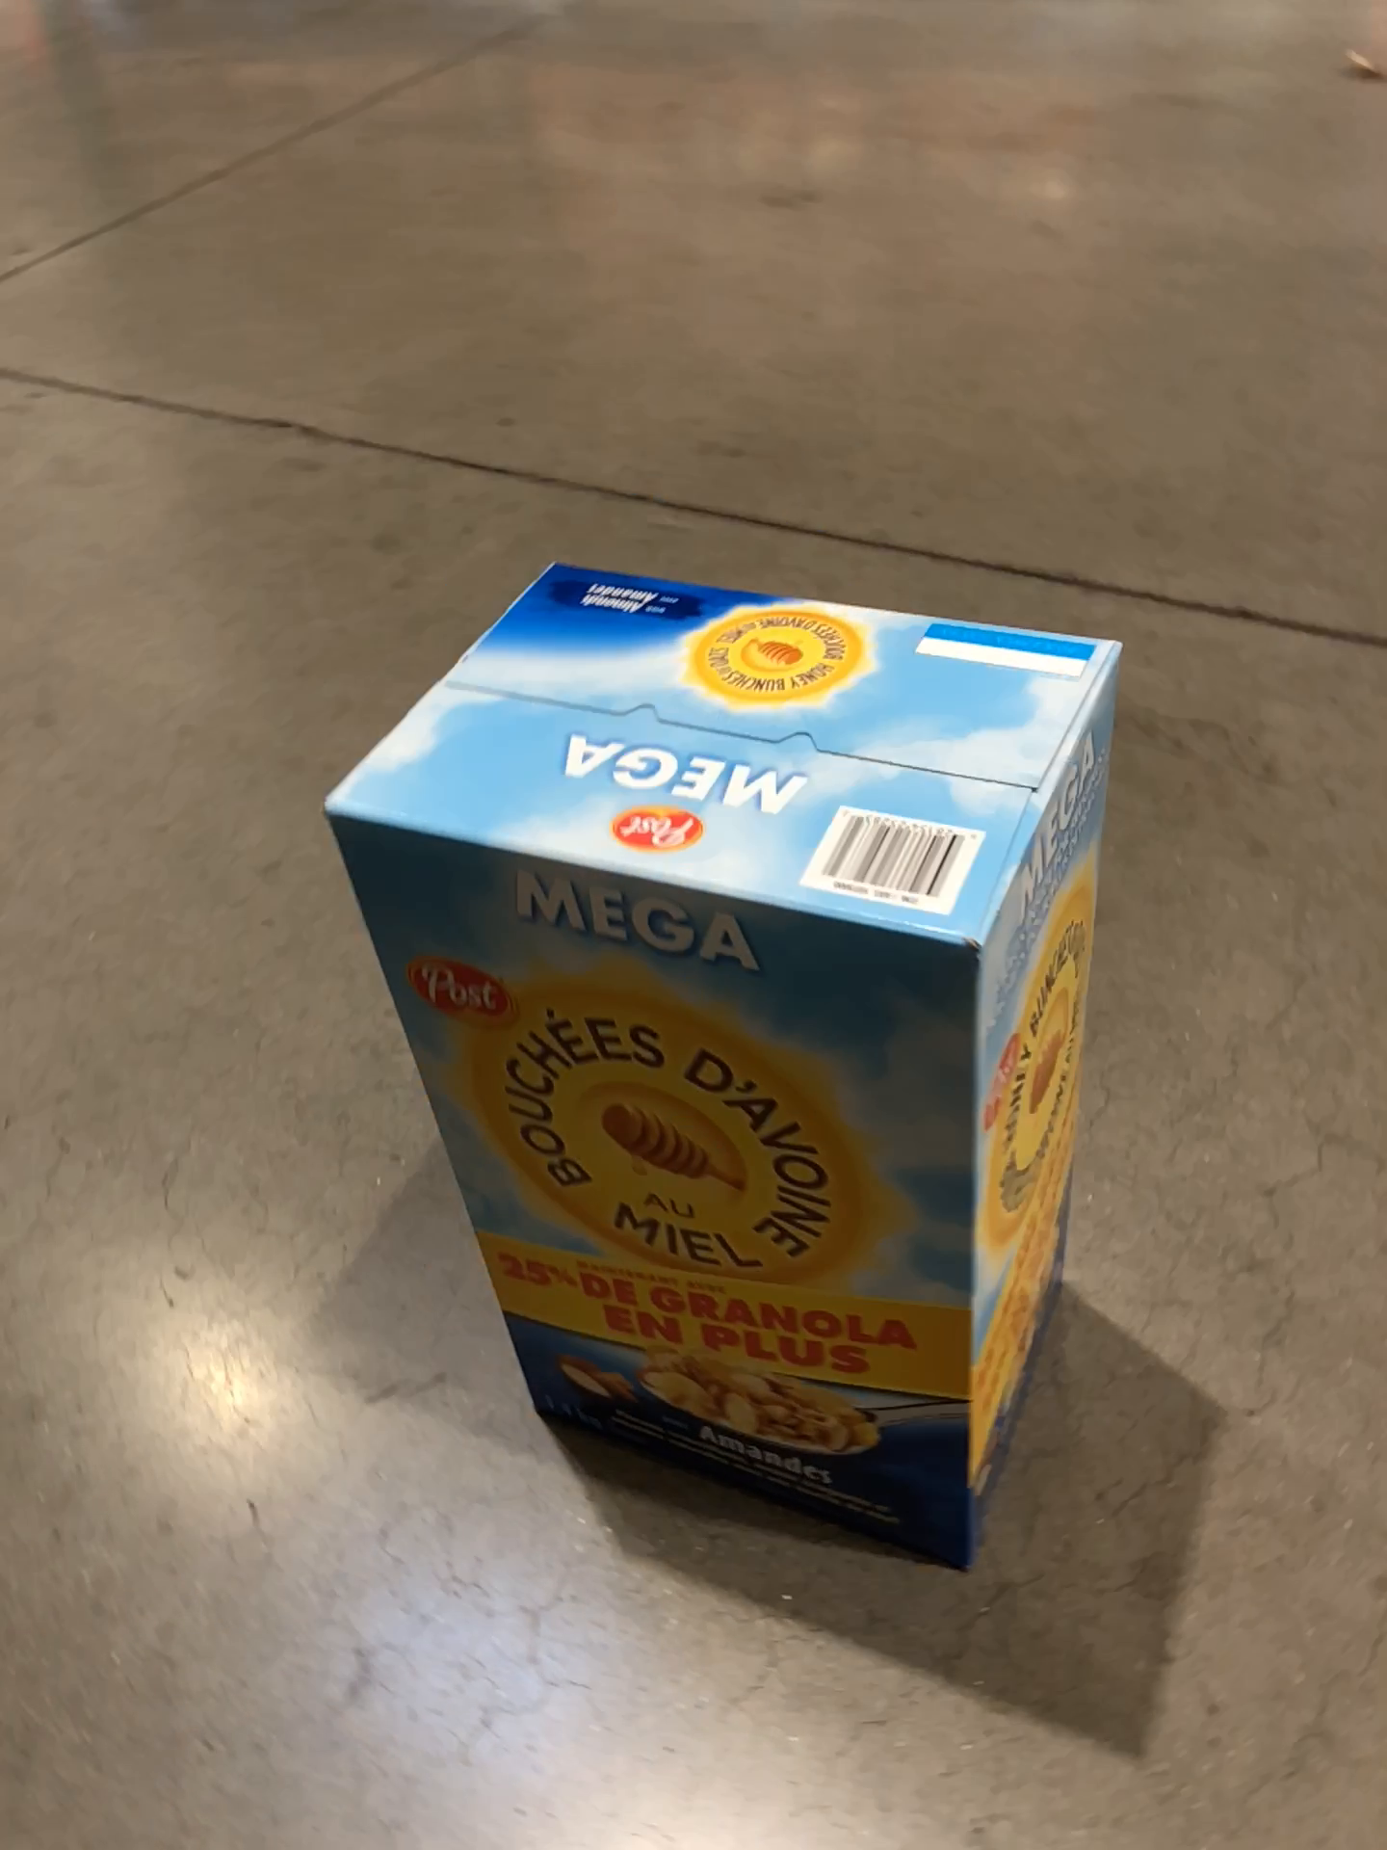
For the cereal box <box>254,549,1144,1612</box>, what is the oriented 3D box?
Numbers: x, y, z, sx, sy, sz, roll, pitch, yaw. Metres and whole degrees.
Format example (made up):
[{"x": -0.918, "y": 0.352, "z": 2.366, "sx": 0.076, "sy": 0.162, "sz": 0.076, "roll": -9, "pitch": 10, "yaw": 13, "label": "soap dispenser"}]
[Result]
[{"x": 0.023, "y": 0.063, "z": 0.544, "sx": 0.210, "sy": 0.329, "sz": 0.150, "roll": 13, "pitch": 47, "yaw": 22, "label": "cereal box"}]
